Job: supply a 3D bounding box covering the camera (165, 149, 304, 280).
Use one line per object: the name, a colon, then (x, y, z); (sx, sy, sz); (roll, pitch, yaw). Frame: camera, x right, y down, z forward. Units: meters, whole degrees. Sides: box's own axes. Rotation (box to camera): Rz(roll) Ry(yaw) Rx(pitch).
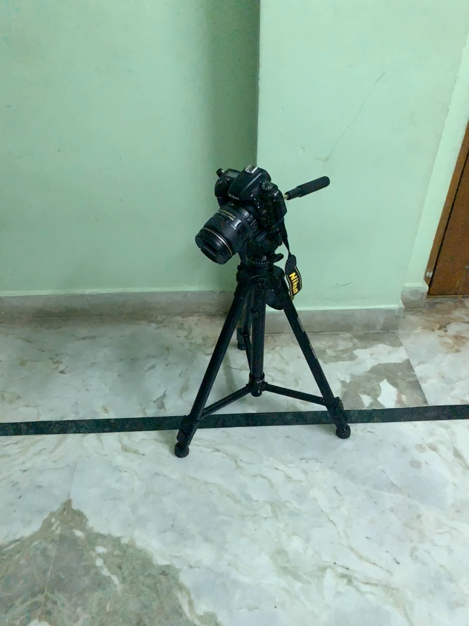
camera: (0.003, -0.192, 0.916); (0.170, 0.110, 0.180); (32, 72, 35)
